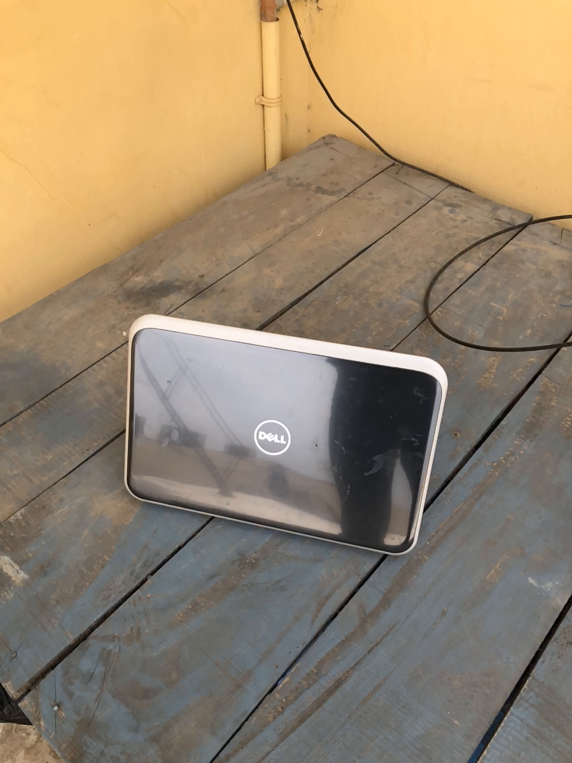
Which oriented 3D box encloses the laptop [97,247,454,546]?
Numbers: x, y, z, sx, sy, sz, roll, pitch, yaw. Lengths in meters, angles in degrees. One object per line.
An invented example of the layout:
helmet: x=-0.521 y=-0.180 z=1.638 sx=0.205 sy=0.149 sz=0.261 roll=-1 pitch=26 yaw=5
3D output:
laptop: x=0.000 y=0.013 z=0.769 sx=0.347 sy=0.206 sz=0.216 roll=10 pitch=50 yaw=11
